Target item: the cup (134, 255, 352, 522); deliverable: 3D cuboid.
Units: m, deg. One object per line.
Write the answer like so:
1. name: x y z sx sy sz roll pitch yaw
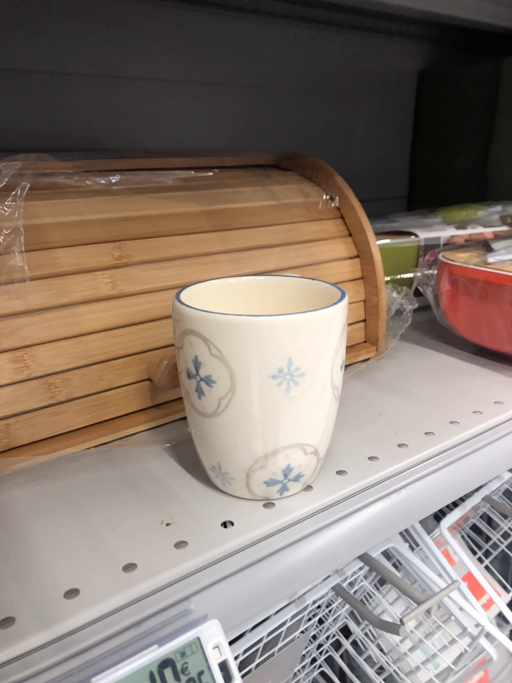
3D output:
1. cup: 0.004 0.012 0.304 0.083 0.089 0.134 4 20 11
